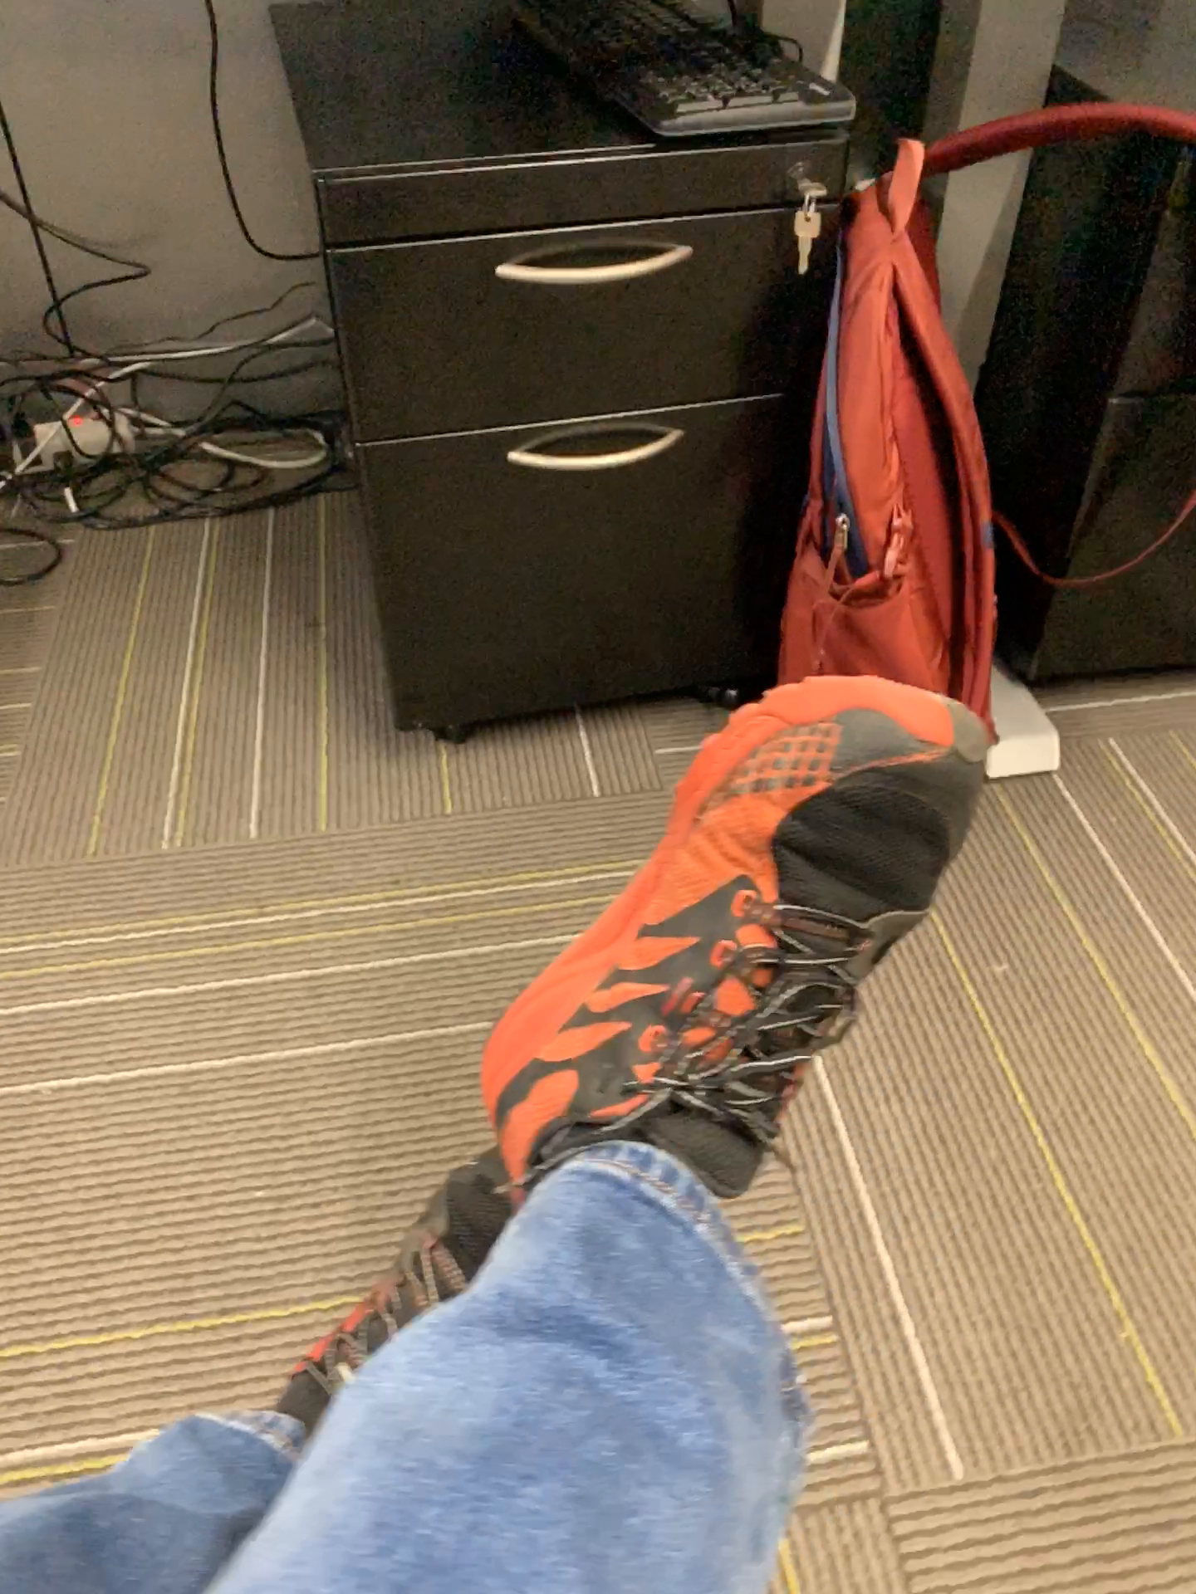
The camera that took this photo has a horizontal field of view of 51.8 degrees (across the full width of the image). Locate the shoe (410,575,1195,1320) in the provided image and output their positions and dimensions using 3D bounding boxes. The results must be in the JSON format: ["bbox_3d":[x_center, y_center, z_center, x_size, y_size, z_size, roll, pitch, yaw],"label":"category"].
[{"bbox_3d":[0.056,0.083,0.513,0.118,0.303,0.143,16,39,-34],"label":"shoe"}]

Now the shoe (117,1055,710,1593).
[{"bbox_3d":[-0.093,0.298,0.650,0.129,0.135,0.289,34,94,30],"label":"shoe"}]
